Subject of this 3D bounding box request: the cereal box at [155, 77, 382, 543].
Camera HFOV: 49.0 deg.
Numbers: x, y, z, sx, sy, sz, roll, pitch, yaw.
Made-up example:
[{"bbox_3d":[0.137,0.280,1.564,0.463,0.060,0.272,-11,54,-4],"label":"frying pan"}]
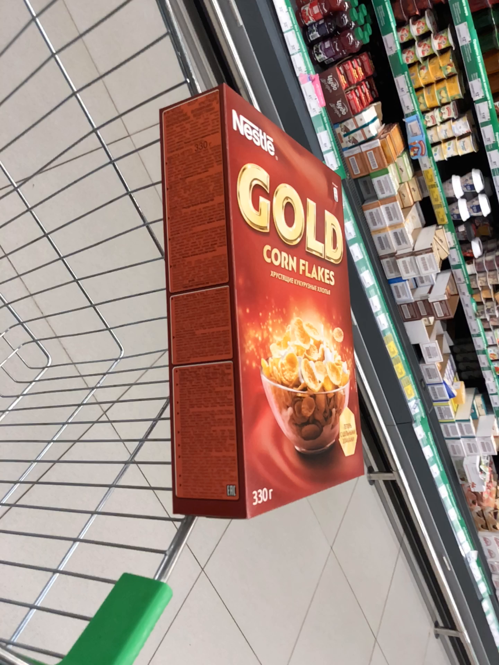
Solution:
[{"bbox_3d":[0.026,-0.009,0.427,0.211,0.060,0.280,9,76,-56],"label":"cereal box"}]
